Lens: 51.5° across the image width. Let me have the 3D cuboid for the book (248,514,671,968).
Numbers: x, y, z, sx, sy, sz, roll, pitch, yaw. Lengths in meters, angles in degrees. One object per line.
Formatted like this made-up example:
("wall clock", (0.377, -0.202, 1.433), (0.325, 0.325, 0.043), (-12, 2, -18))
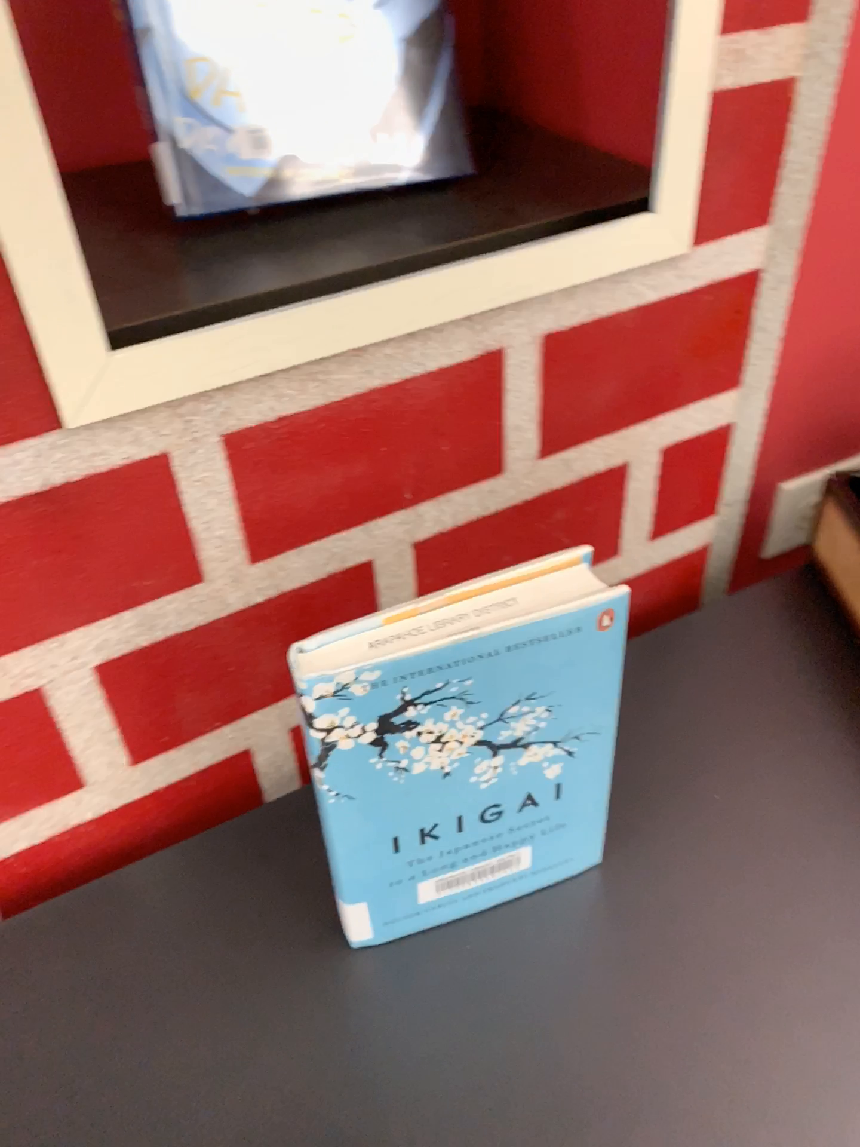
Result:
("book", (0.015, 0.082, 0.390), (0.150, 0.199, 0.040), (-14, 42, -13))
